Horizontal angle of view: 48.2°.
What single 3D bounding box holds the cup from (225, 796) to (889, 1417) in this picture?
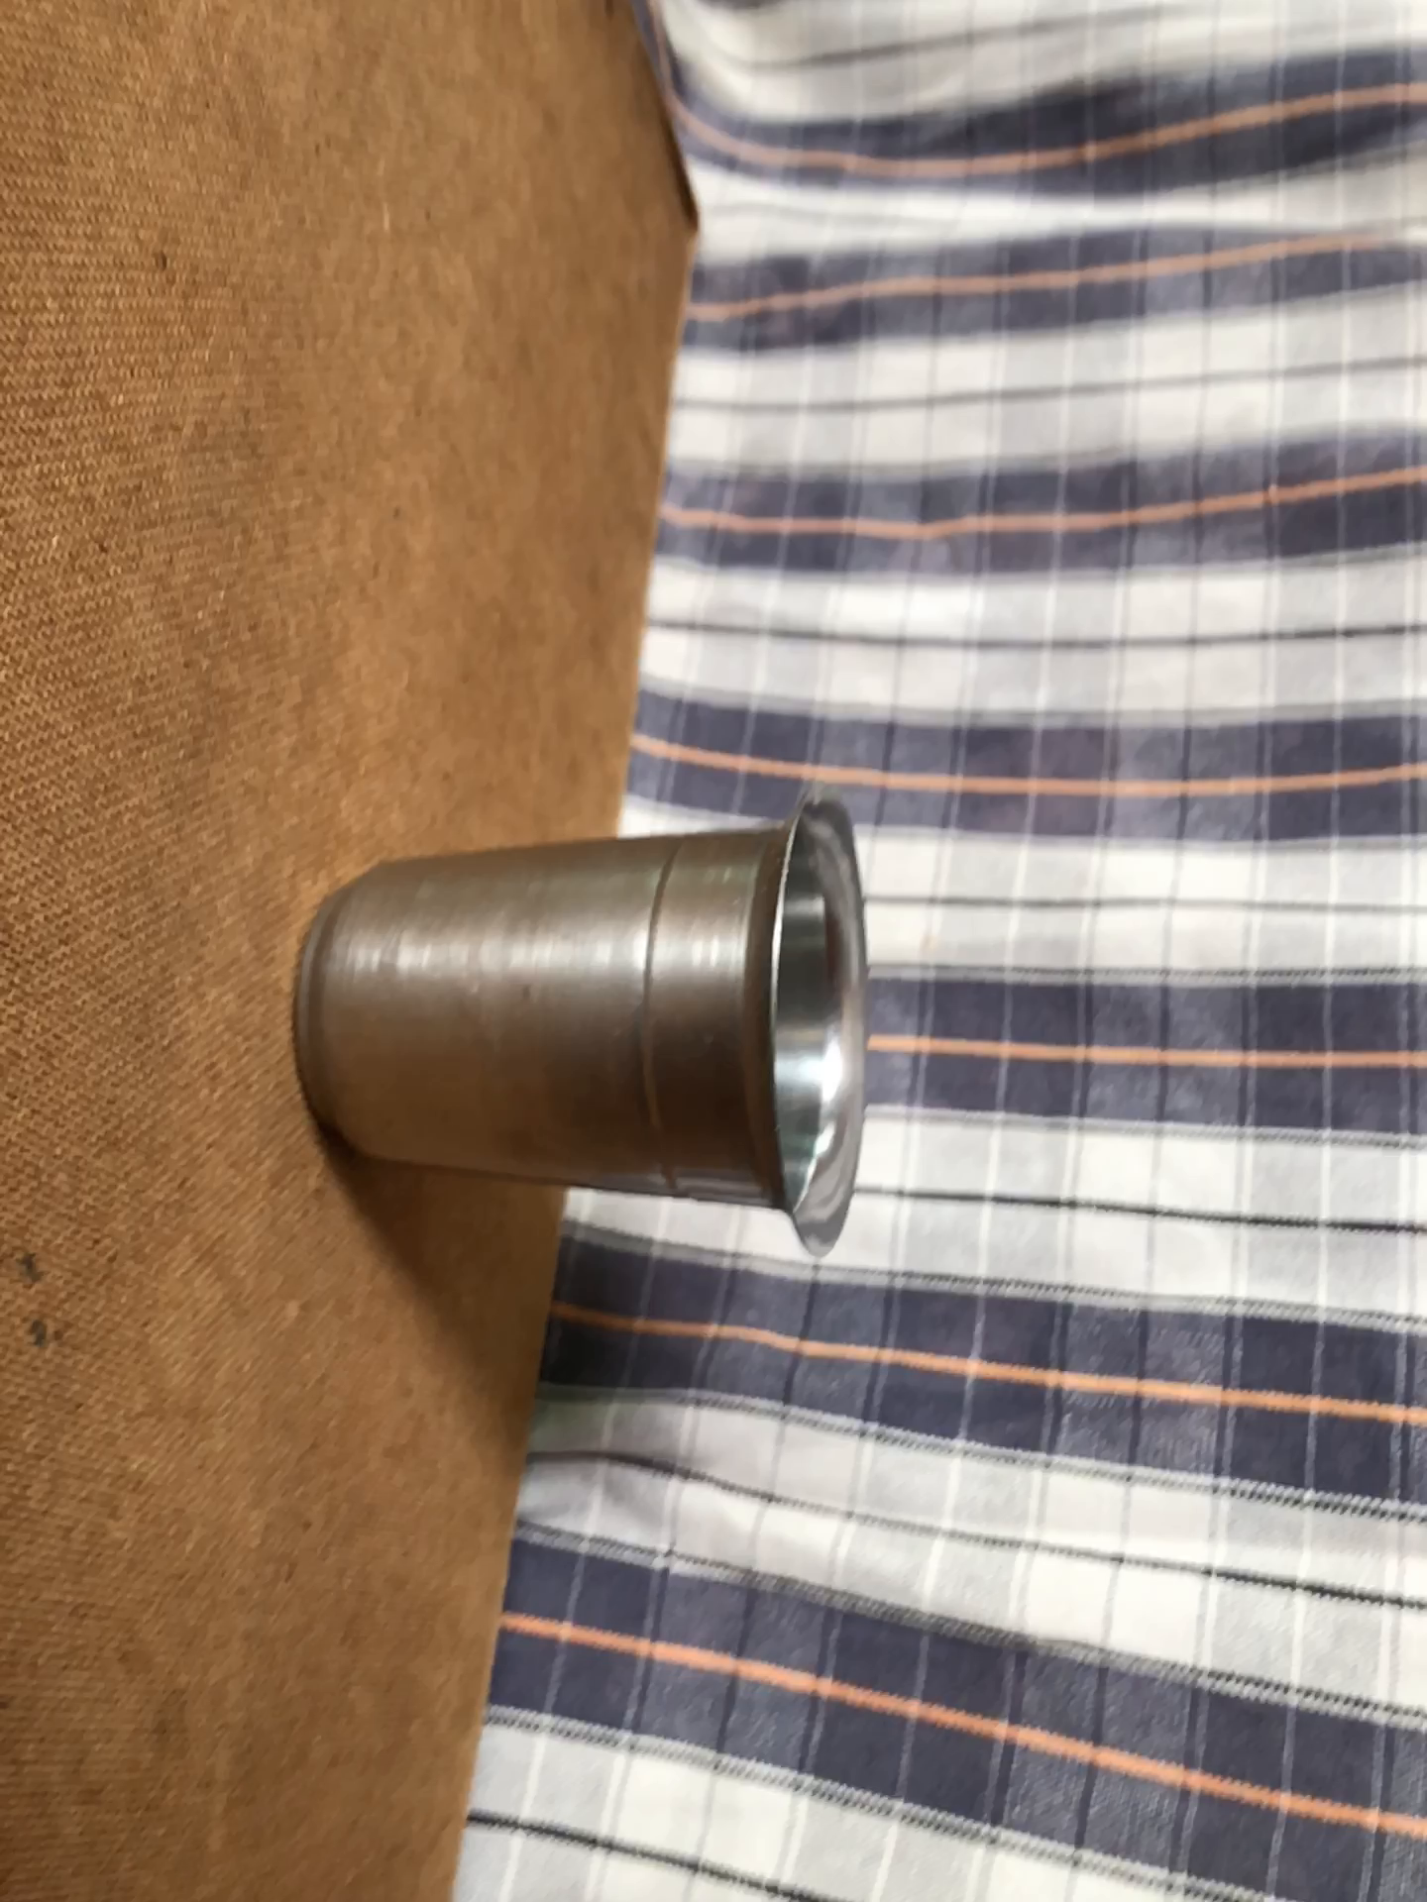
[{"bbox_3d":[-0.018,0.024,0.264,0.070,0.080,0.070,0,90,-76],"label":"cup"}]
